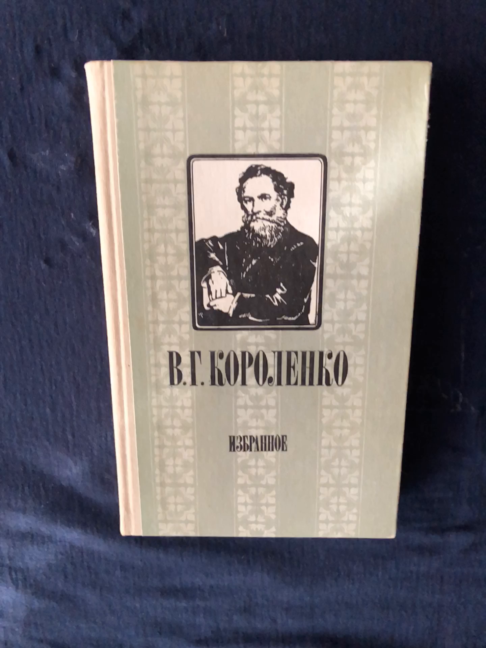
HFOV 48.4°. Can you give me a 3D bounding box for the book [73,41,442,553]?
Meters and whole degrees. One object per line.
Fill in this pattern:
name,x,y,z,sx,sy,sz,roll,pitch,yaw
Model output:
book,0.006,-0.003,0.234,0.132,0.030,0.210,0,104,-1
